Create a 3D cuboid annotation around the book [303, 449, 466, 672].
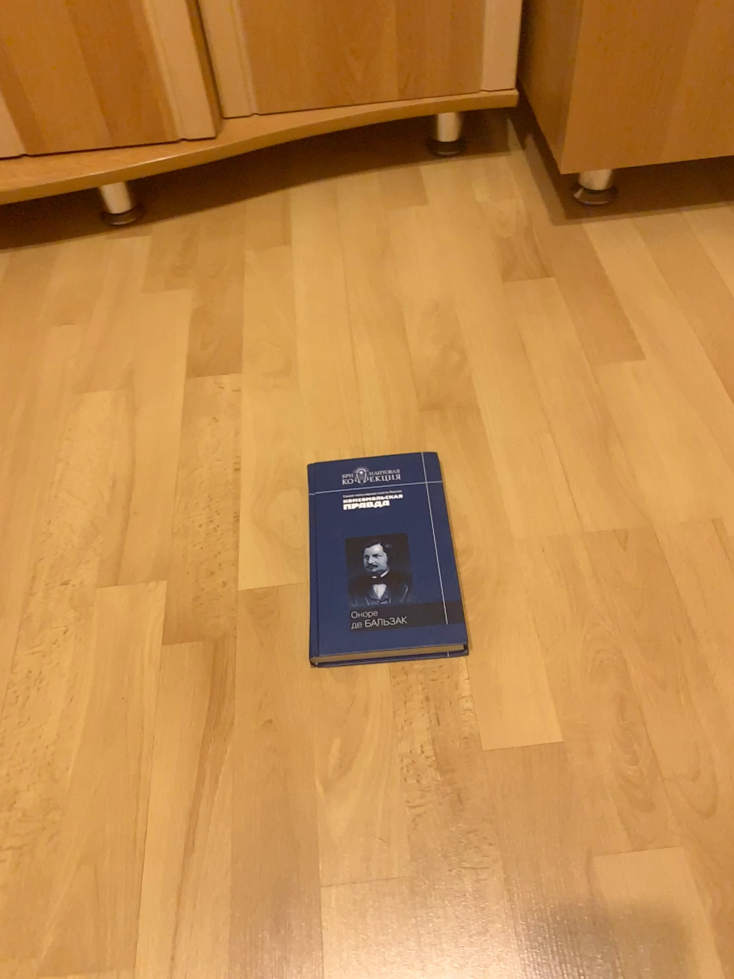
[{"bbox_3d":[0.009,0.056,0.674,0.128,0.030,0.202,-6,53,1],"label":"book"}]
